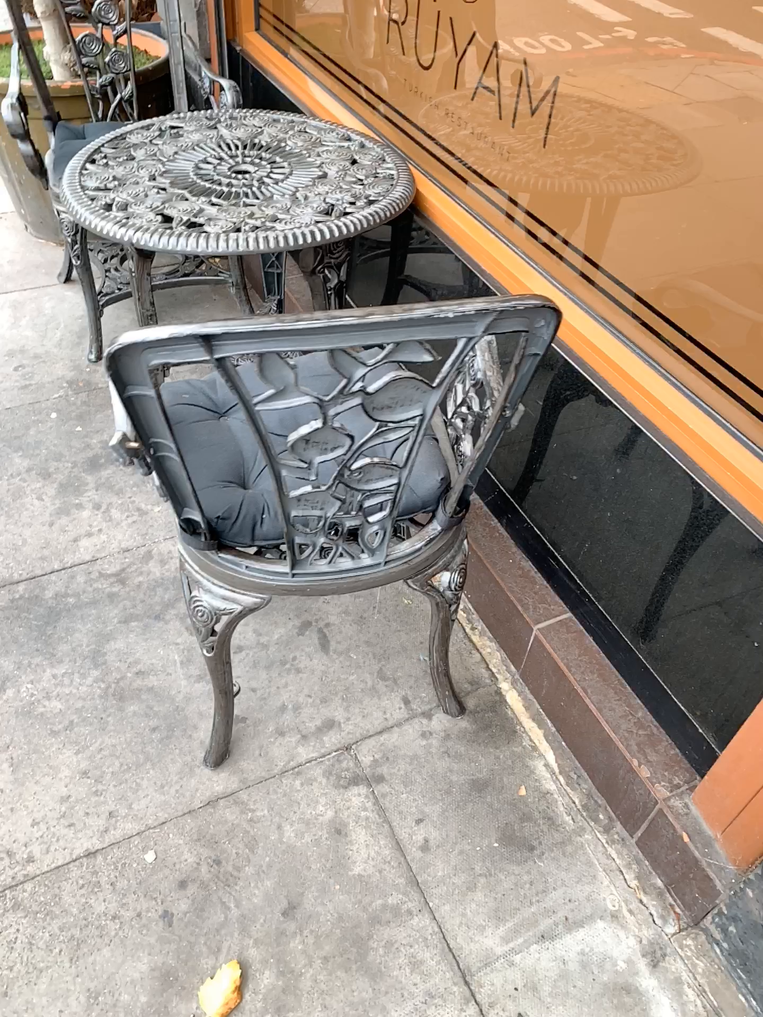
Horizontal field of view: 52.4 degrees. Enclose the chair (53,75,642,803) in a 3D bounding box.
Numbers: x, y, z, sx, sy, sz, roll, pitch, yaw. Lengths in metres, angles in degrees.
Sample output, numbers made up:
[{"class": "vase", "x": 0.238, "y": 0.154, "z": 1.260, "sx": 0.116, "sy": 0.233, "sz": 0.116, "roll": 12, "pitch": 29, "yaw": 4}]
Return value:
[{"class": "chair", "x": -0.114, "y": -0.062, "z": 1.135, "sx": 0.490, "sy": 0.852, "sz": 0.555, "roll": -10, "pitch": 51, "yaw": -15}]
